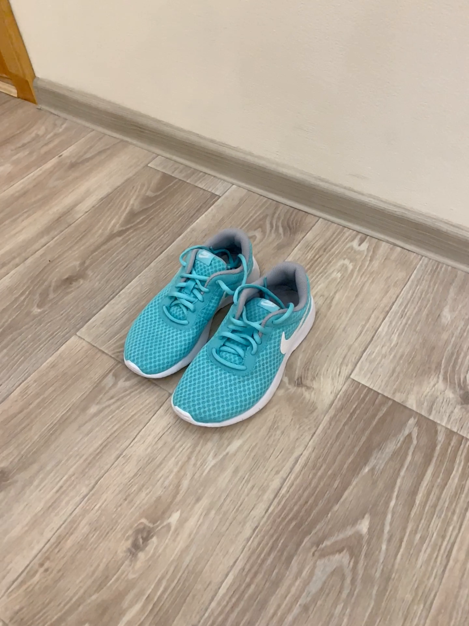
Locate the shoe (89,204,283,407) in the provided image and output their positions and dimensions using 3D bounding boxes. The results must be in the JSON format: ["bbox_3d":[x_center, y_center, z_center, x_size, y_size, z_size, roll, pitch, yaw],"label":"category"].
[{"bbox_3d":[-0.049,-0.019,0.621,0.101,0.090,0.251,28,58,23],"label":"shoe"}]

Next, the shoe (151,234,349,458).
[{"bbox_3d":[0.028,0.029,0.576,0.098,0.090,0.251,28,58,23],"label":"shoe"}]
